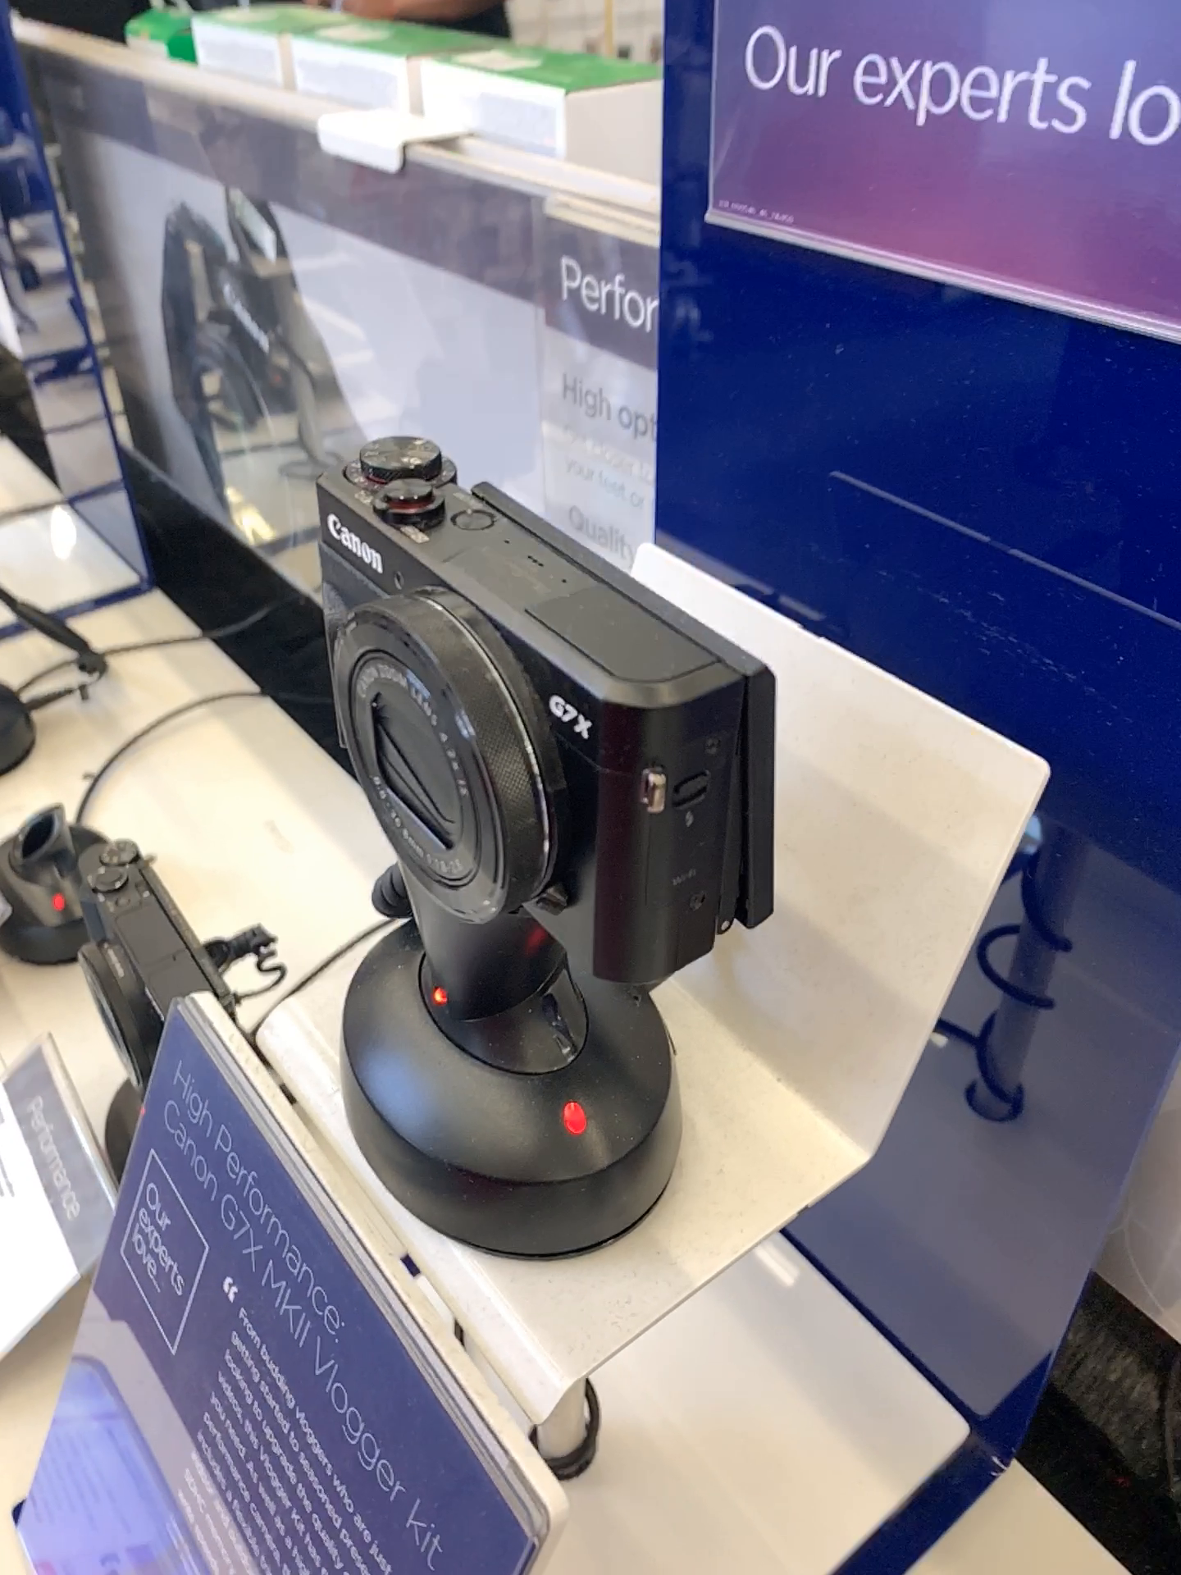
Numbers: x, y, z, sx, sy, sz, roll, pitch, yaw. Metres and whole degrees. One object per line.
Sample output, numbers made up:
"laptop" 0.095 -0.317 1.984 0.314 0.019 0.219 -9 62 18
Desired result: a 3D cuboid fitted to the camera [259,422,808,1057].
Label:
"camera" -0.016 -0.016 0.216 0.038 0.059 0.109 -20 41 -28
